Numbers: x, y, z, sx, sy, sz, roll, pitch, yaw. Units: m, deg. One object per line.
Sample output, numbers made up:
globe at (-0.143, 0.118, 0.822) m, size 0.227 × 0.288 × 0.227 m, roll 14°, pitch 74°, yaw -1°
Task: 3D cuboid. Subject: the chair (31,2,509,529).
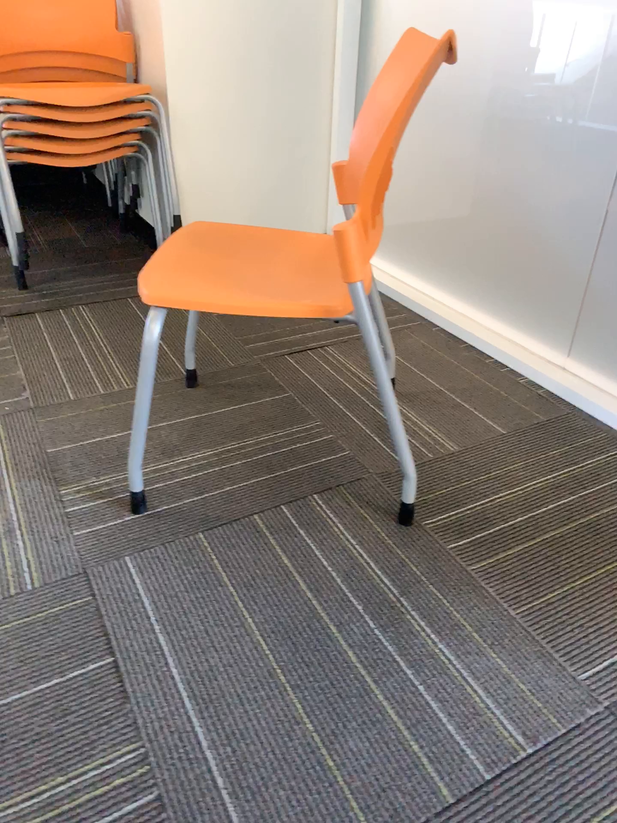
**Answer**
chair at (-0.051, -0.326, 1.276) m, size 0.580 × 0.805 × 0.714 m, roll 3°, pitch 31°, yaw 1°
